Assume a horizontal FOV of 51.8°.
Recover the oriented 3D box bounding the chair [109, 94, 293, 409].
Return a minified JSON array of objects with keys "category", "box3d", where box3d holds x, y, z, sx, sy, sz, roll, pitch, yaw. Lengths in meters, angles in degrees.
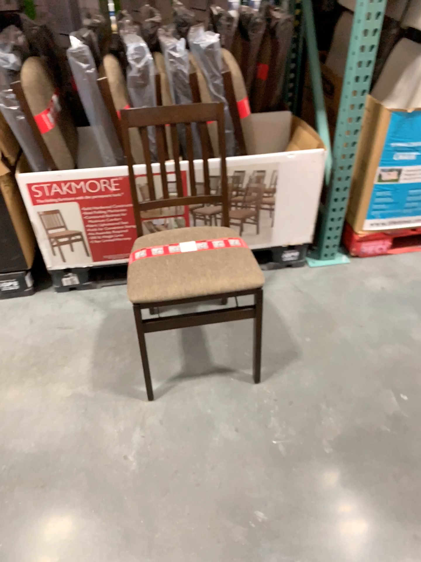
[{"category":"chair","box3d":[-0.058,-0.093,1.462,0.421,0.837,0.574,-7,40,-7]}]
